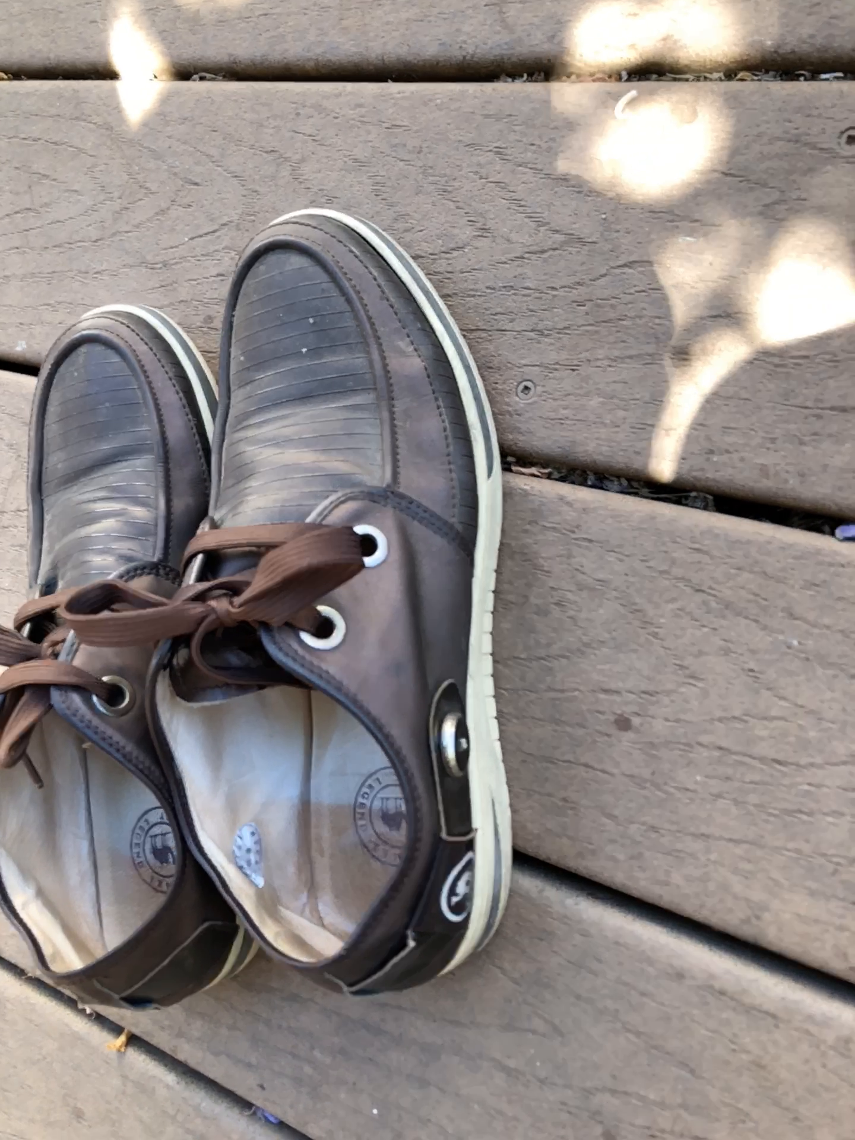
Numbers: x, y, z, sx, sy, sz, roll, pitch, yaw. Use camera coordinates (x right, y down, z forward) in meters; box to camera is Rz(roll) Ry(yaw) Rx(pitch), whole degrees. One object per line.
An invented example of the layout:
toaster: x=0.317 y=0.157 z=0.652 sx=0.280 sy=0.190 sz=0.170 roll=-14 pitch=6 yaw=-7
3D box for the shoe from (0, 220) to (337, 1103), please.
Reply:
shoe: x=-0.128 y=0.033 z=0.379 sx=0.107 sy=0.115 sz=0.287 roll=-9 pitch=84 yaw=25

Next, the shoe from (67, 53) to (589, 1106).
shoe: x=-0.031 y=0.005 z=0.324 sx=0.107 sy=0.105 sz=0.289 roll=-10 pitch=84 yaw=25
